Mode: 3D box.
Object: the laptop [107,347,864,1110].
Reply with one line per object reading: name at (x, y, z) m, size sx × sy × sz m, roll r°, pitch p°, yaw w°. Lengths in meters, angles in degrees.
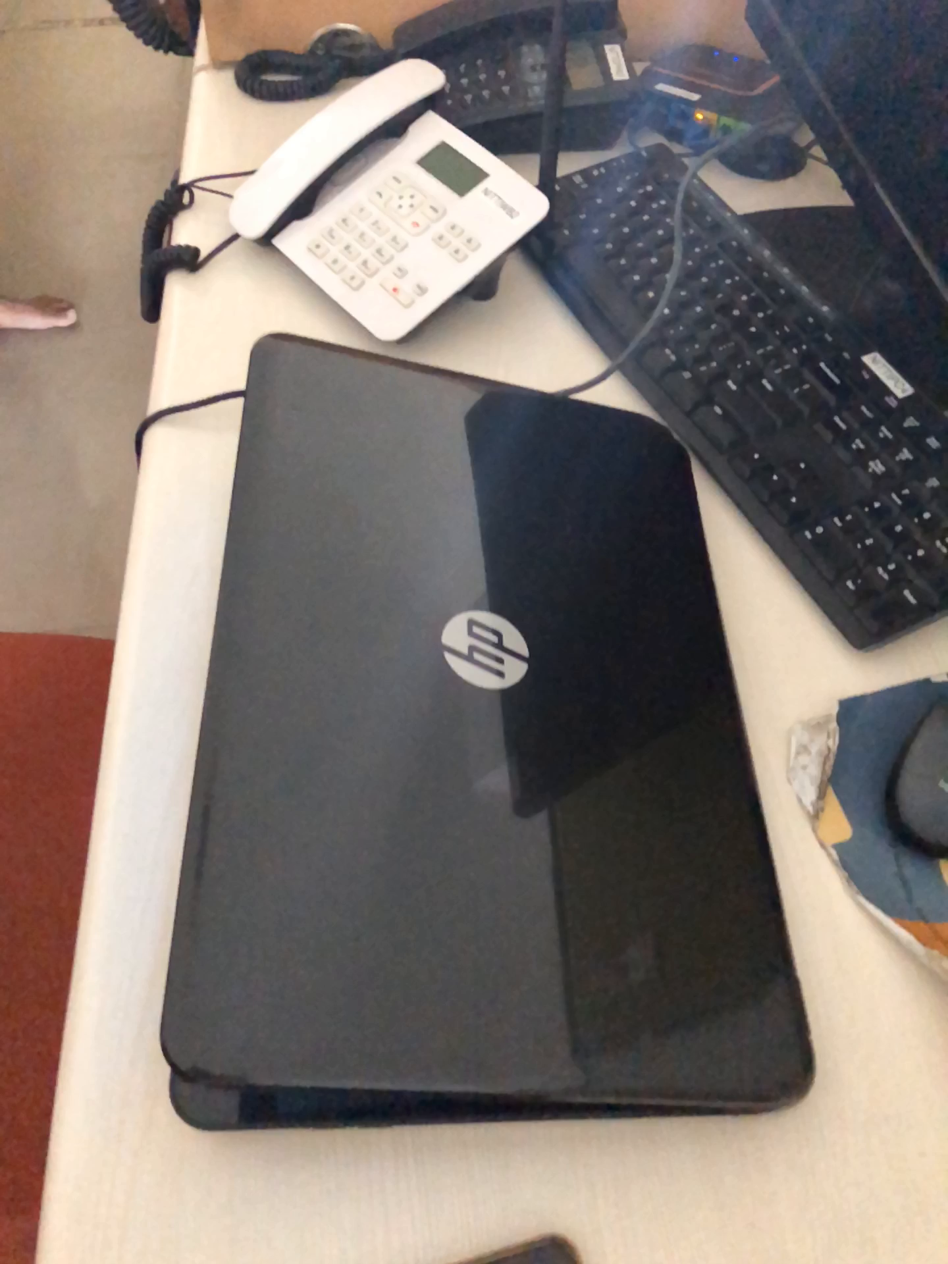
laptop at (-0.002, 0.017, 0.469) m, size 0.245 × 0.072 × 0.351 m, roll -1°, pitch 55°, yaw -1°
